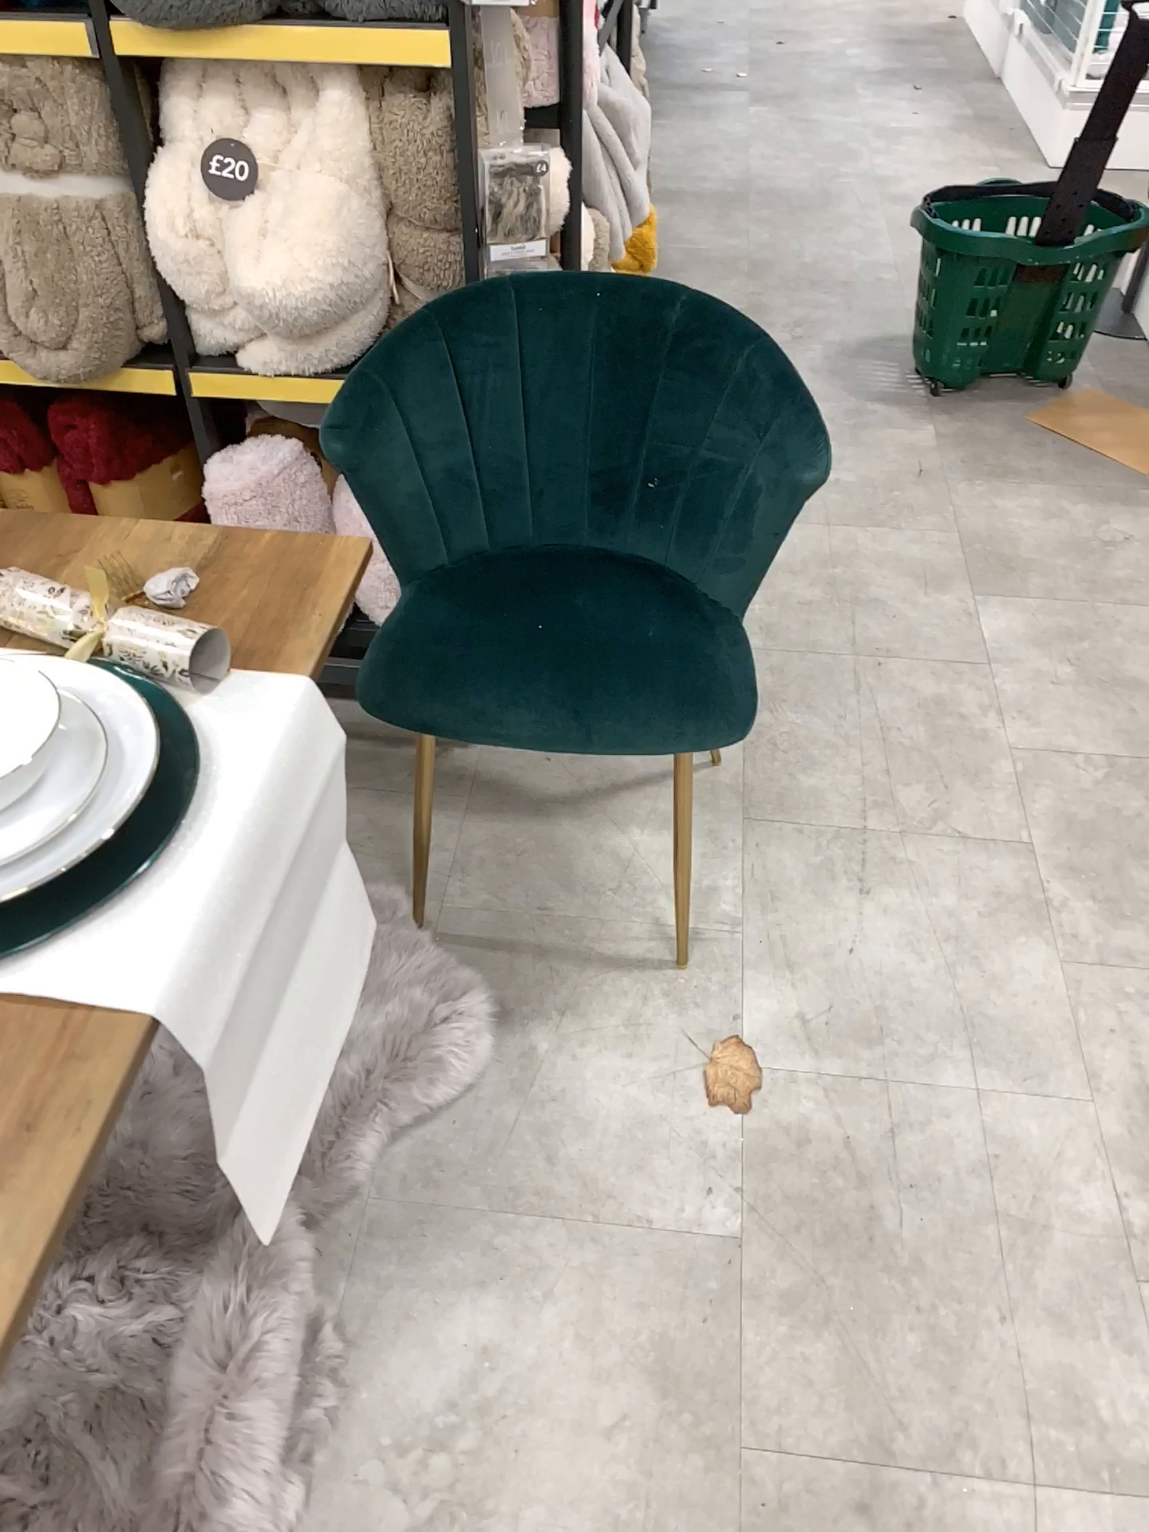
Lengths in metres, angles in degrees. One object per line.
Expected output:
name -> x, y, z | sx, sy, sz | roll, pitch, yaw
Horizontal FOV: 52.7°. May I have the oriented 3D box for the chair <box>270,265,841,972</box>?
chair -> 0.012, -0.195, 1.544 | 0.547, 0.692, 0.575 | 5, 43, 5
